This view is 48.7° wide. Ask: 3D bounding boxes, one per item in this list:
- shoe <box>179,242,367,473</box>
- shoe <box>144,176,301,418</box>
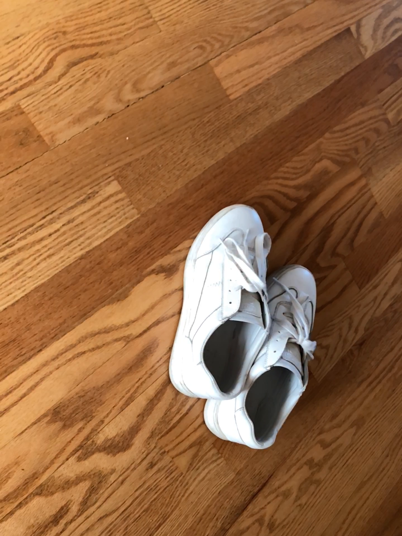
[{"bbox_3d":[0.096,0.106,0.585,0.103,0.106,0.260,37,72,-20],"label":"shoe"},{"bbox_3d":[0.026,0.036,0.556,0.103,0.104,0.260,18,79,-25],"label":"shoe"}]
